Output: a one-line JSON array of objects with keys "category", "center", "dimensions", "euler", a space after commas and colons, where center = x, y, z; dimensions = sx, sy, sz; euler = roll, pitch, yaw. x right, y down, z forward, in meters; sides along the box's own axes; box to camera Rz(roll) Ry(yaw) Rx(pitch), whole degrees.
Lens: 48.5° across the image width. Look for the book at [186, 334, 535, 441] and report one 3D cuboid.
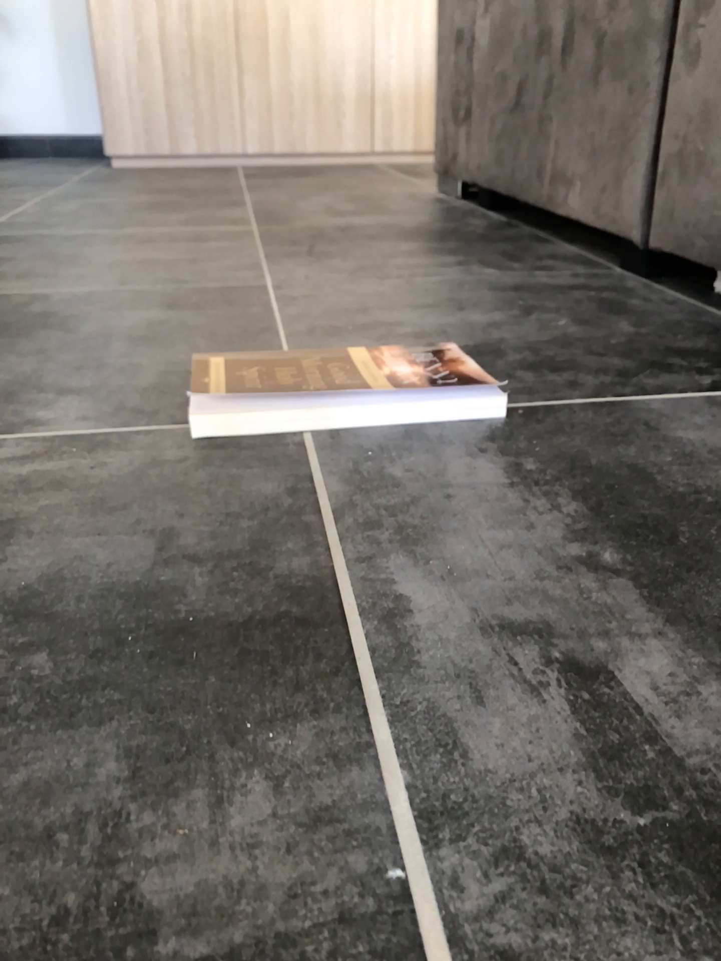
[{"category": "book", "center": [-0.009, -0.074, 0.592], "dimensions": [0.230, 0.020, 0.151], "euler": [-4, 25, -9]}]
